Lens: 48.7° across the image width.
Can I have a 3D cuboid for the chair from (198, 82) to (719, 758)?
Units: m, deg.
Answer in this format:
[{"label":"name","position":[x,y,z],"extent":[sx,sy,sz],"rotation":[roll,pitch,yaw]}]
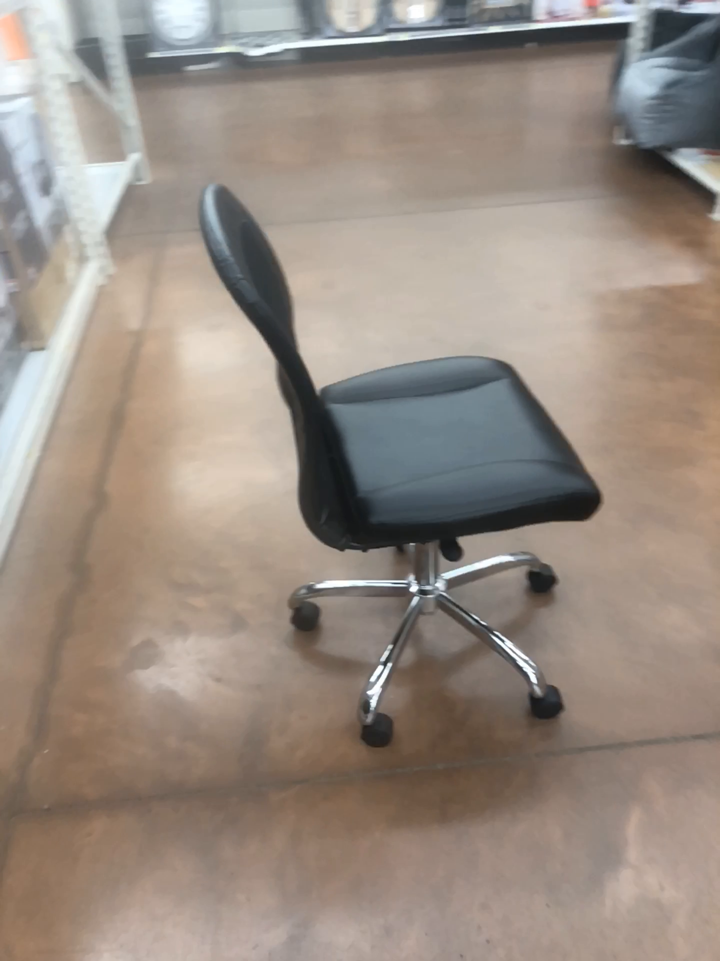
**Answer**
[{"label":"chair","position":[0.132,-0.122,1.333],"extent":[0.650,0.817,0.683],"rotation":[-7,37,-5]}]
